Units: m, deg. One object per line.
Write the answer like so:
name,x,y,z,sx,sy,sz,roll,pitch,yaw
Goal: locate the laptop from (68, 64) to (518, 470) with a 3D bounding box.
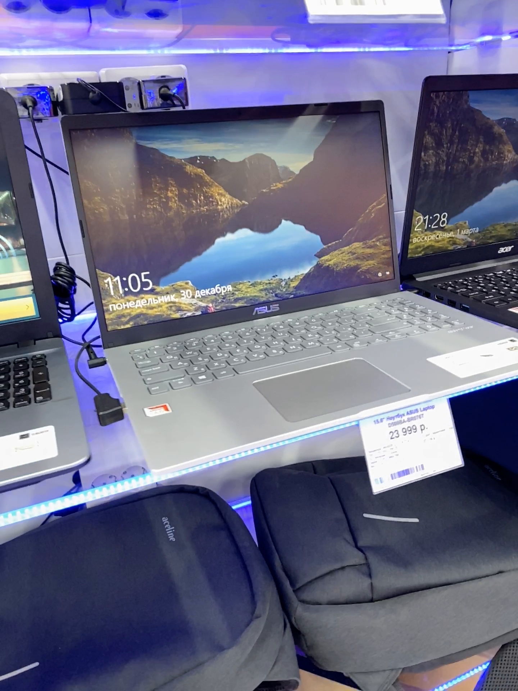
laptop,0.045,-0.103,0.471,0.360,0.216,0.286,-11,22,-19
